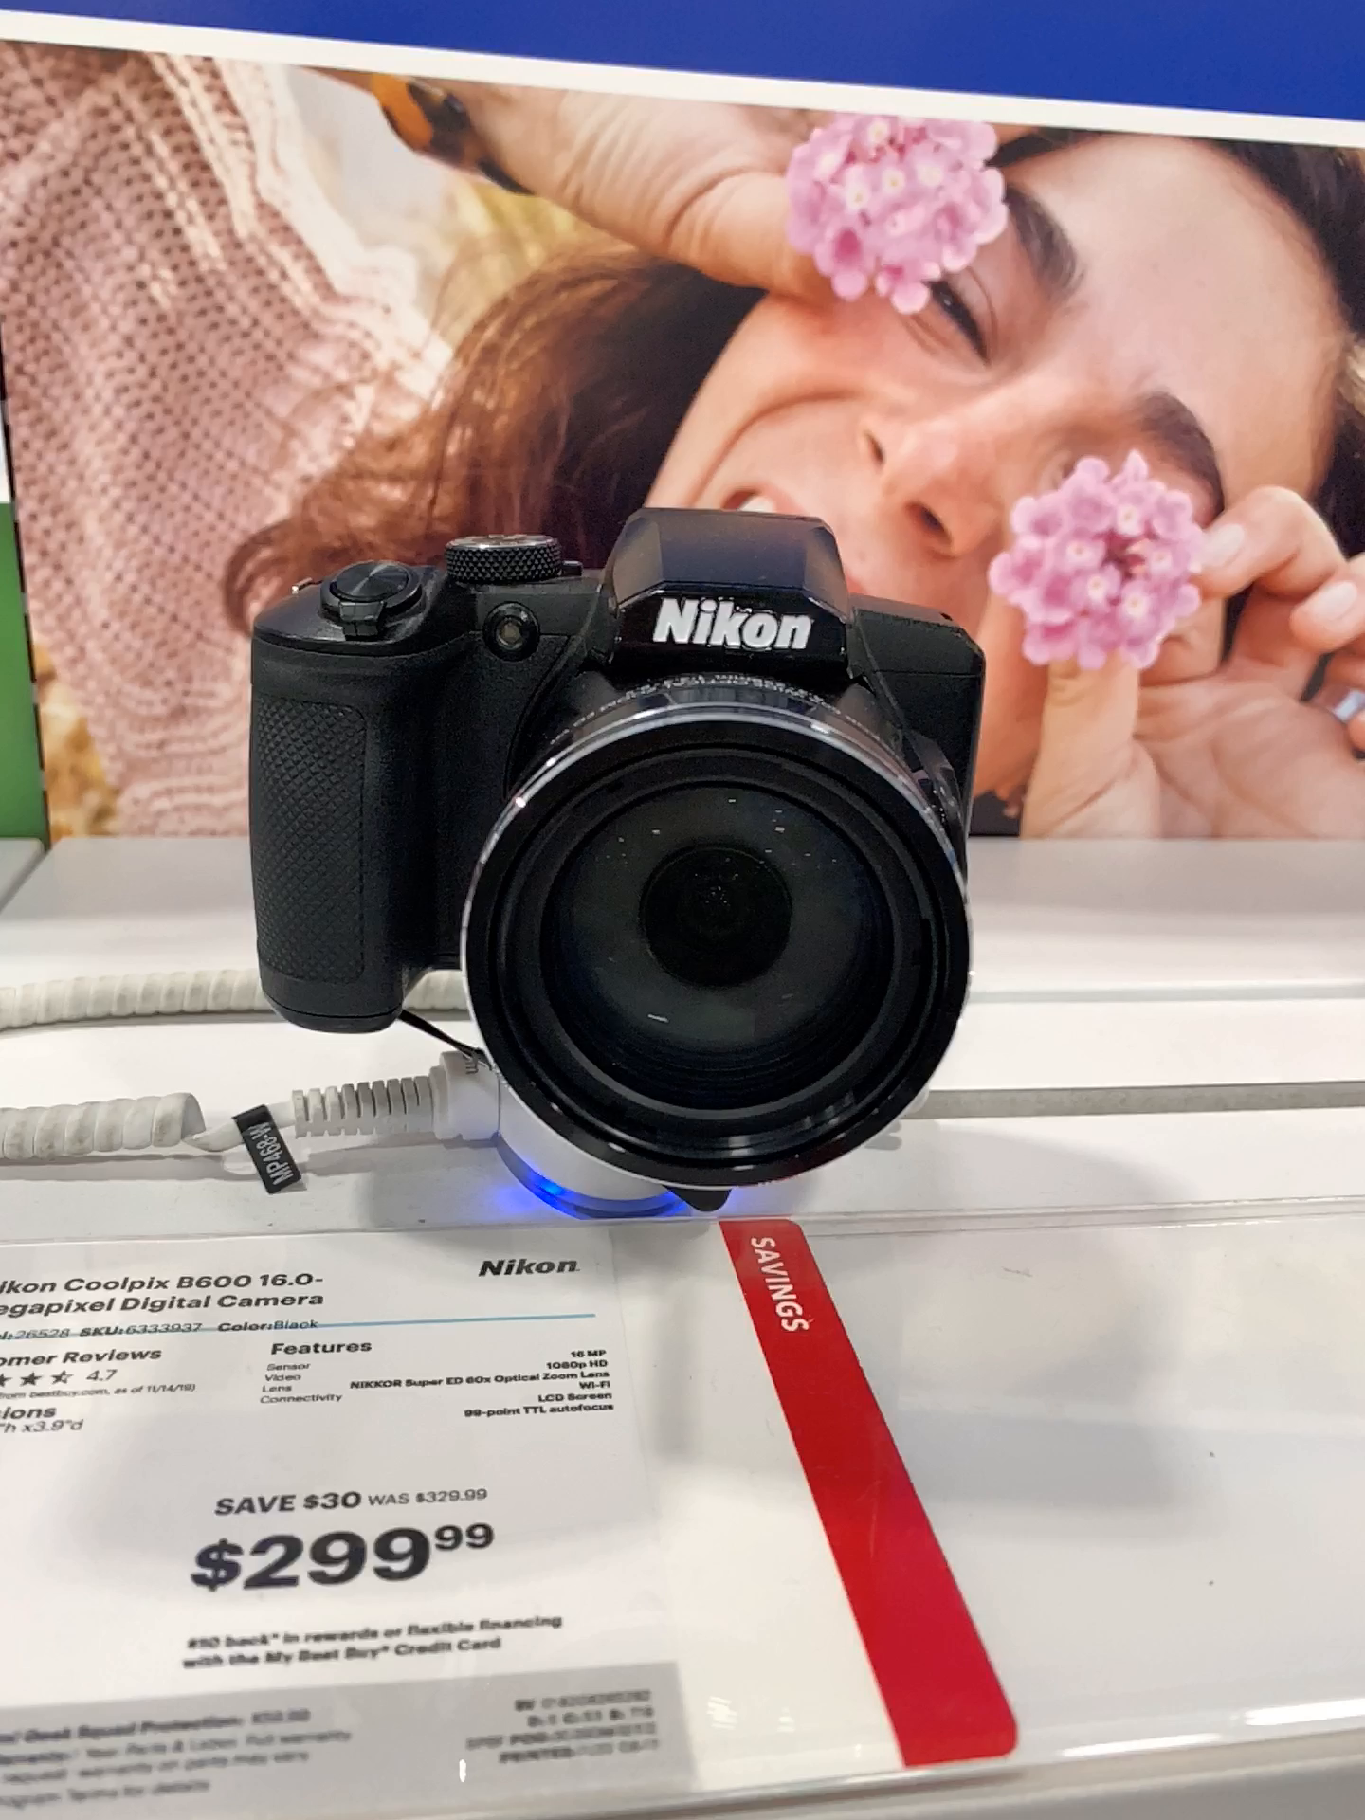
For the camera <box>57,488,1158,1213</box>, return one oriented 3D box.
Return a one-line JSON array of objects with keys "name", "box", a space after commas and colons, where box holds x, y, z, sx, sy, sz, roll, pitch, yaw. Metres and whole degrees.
[{"name": "camera", "box": [-0.011, -0.017, 0.215, 0.120, 0.080, 0.100, 2, 18, -3]}]
